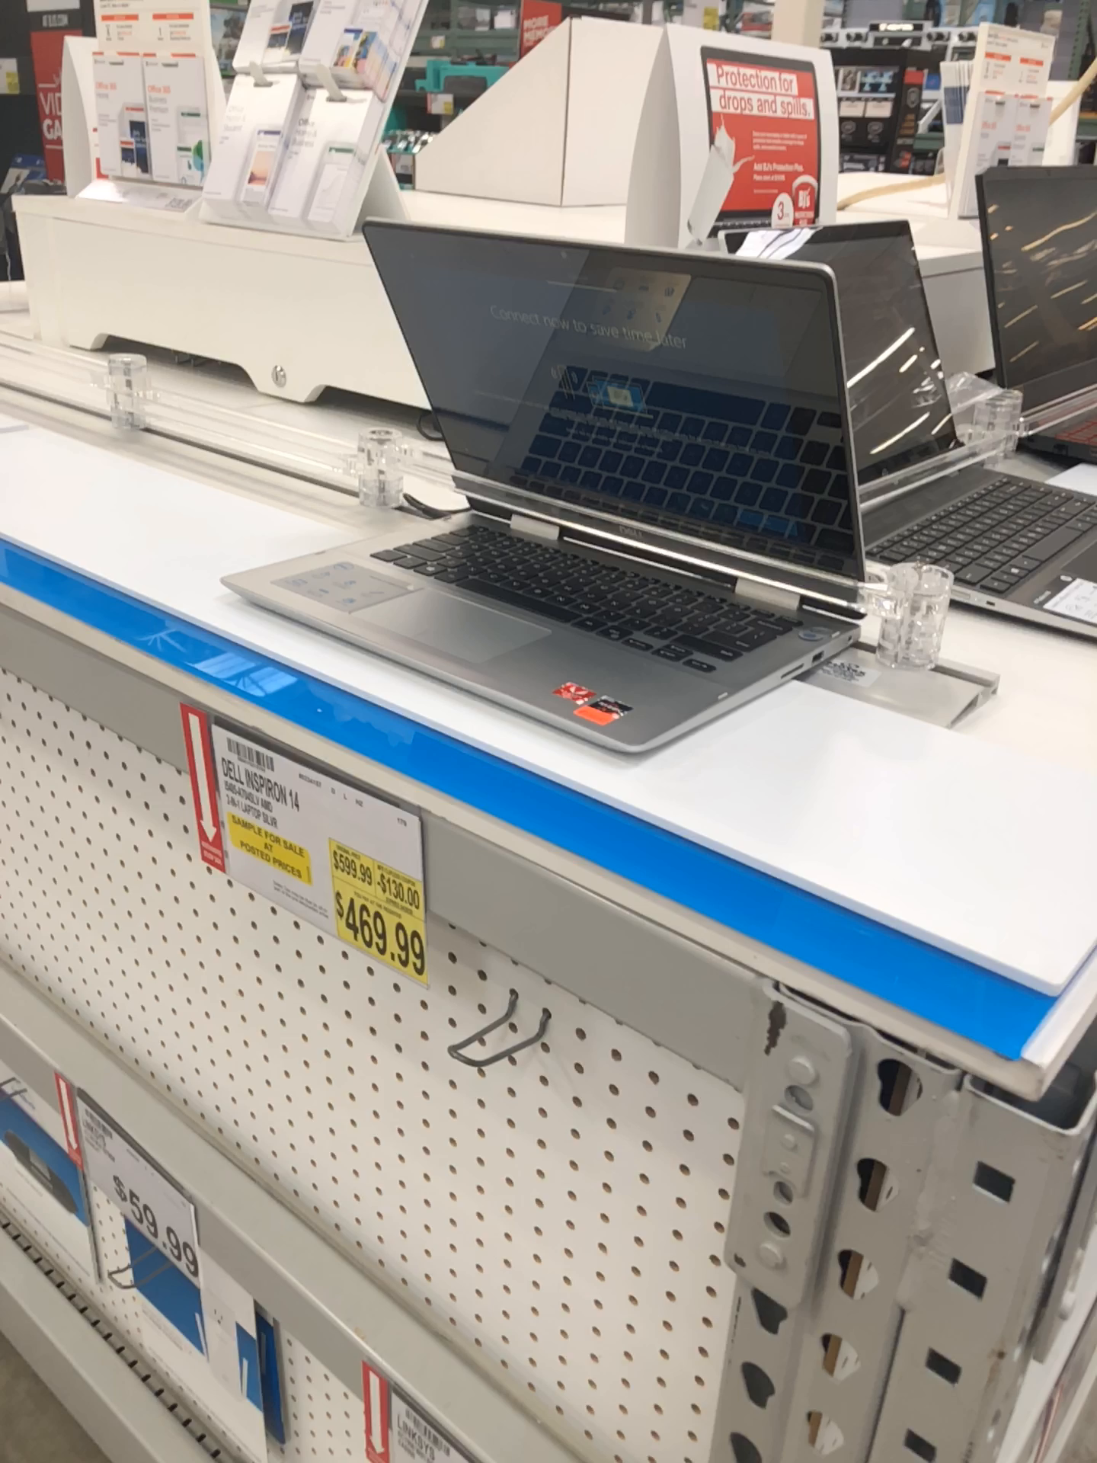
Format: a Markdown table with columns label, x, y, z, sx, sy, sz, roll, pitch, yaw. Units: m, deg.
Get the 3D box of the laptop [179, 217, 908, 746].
| label | x | y | z | sx | sy | sz | roll | pitch | yaw |
| --- | --- | --- | --- | --- | --- | --- | --- | --- | --- |
| laptop | -0.010 | -0.168 | 0.676 | 0.319 | 0.199 | 0.223 | 22 | 32 | 34 |
